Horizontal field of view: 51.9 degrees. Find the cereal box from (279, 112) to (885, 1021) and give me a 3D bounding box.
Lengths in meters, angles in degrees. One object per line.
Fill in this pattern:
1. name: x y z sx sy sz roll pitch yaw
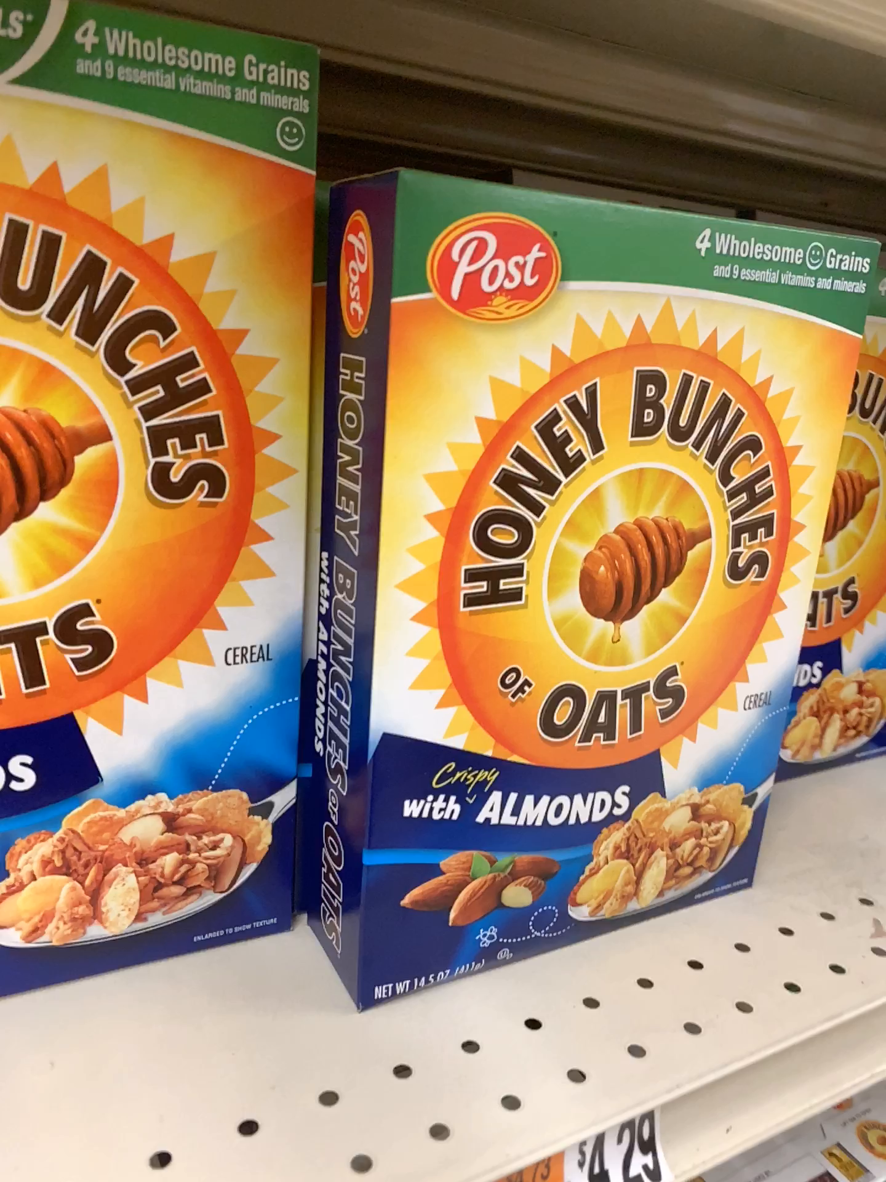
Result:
1. cereal box: 0.048 -0.004 0.340 0.200 0.279 0.060 -5 19 -28
